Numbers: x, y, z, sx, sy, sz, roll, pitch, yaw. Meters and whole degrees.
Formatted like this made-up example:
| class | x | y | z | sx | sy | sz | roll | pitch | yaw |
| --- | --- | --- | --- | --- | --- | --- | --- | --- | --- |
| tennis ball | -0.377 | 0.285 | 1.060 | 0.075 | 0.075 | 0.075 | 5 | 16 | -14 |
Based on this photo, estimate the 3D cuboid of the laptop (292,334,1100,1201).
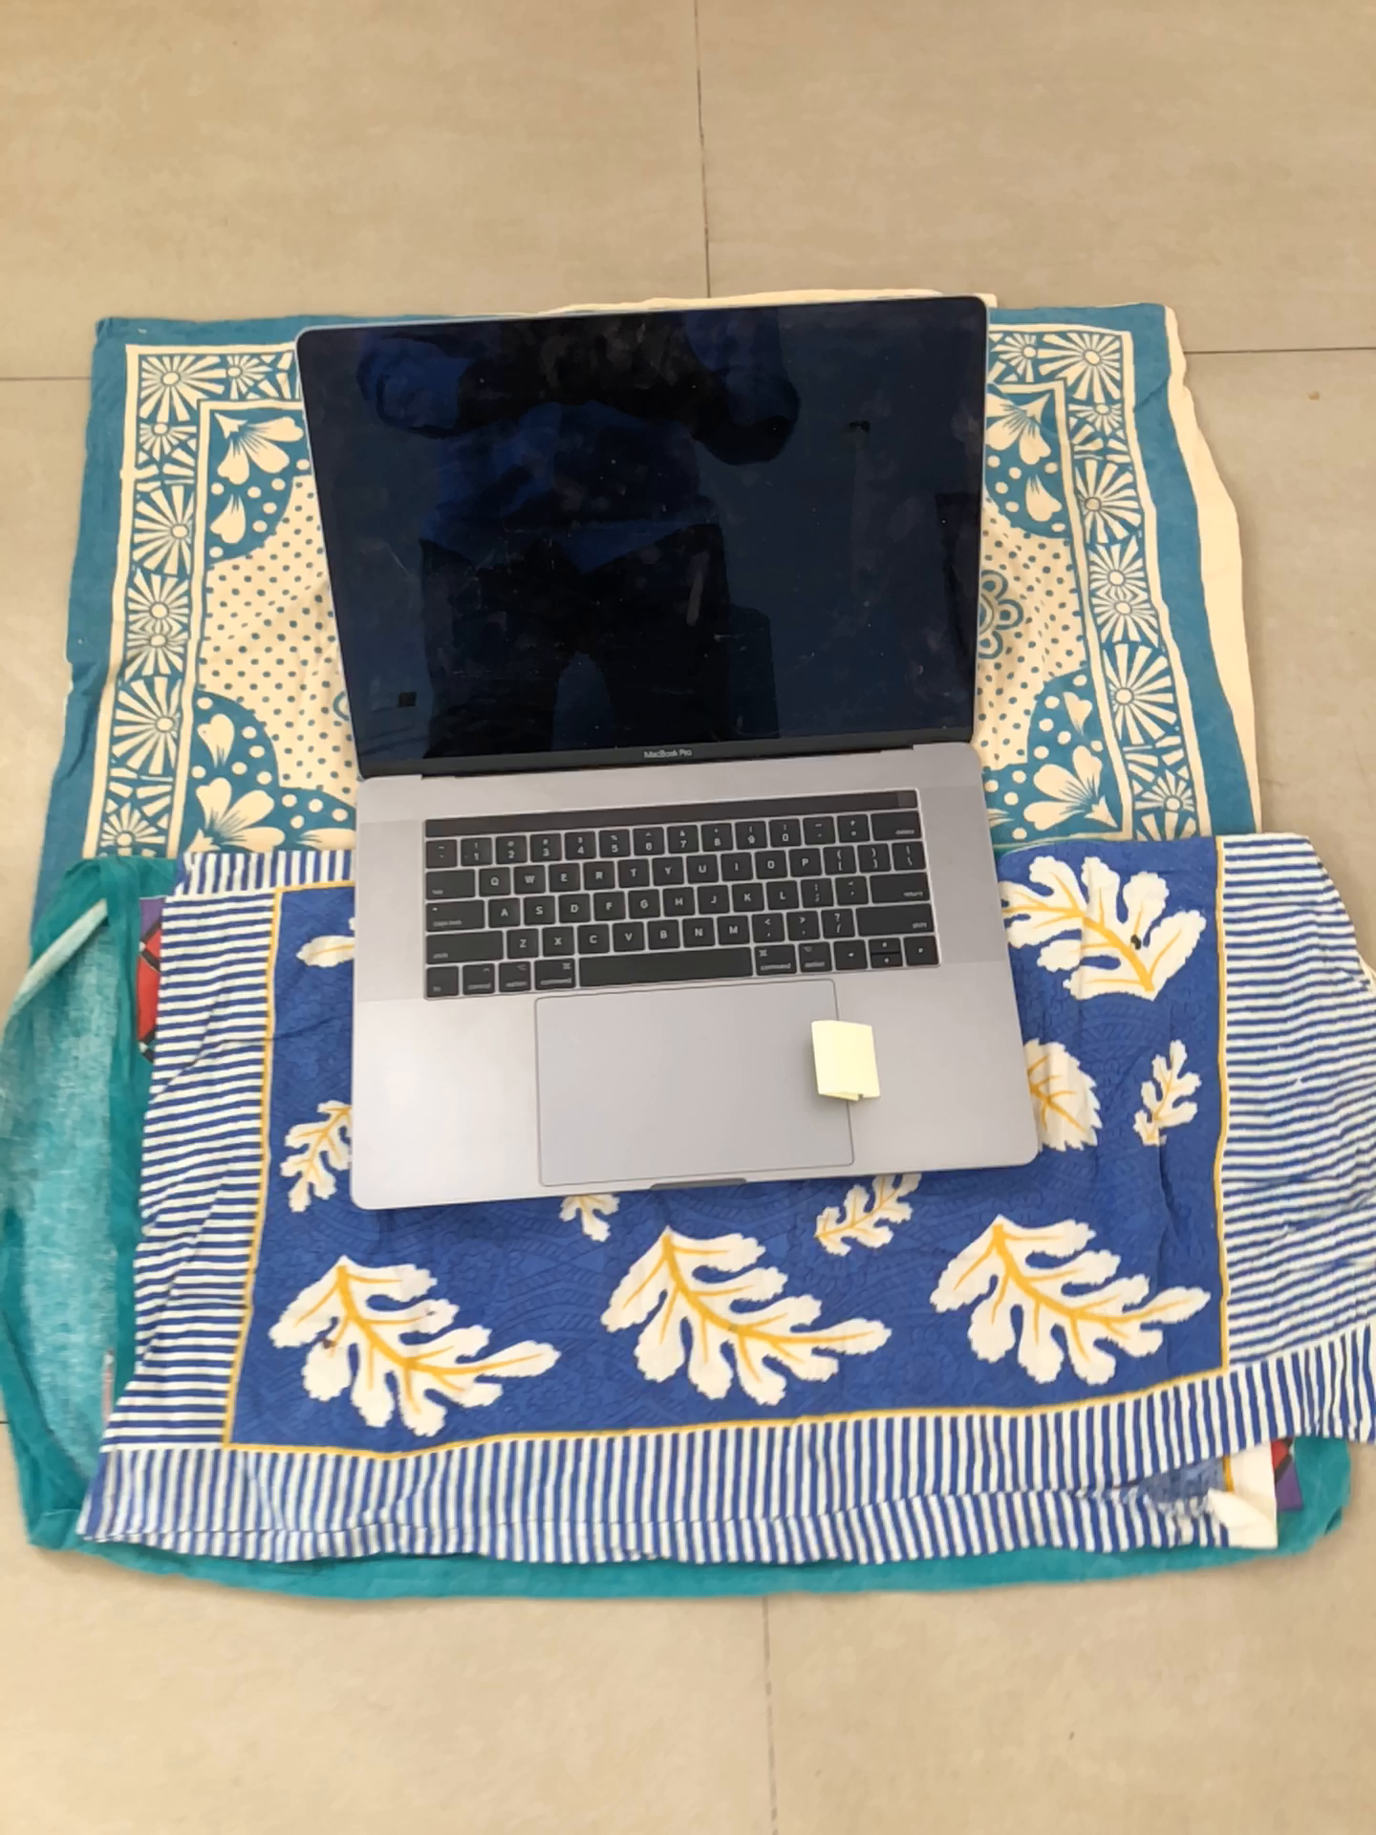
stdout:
| class | x | y | z | sx | sy | sz | roll | pitch | yaw |
| --- | --- | --- | --- | --- | --- | --- | --- | --- | --- |
| laptop | -0.009 | -0.078 | 0.756 | 0.336 | 0.132 | 0.402 | -3 | 71 | -2 |
